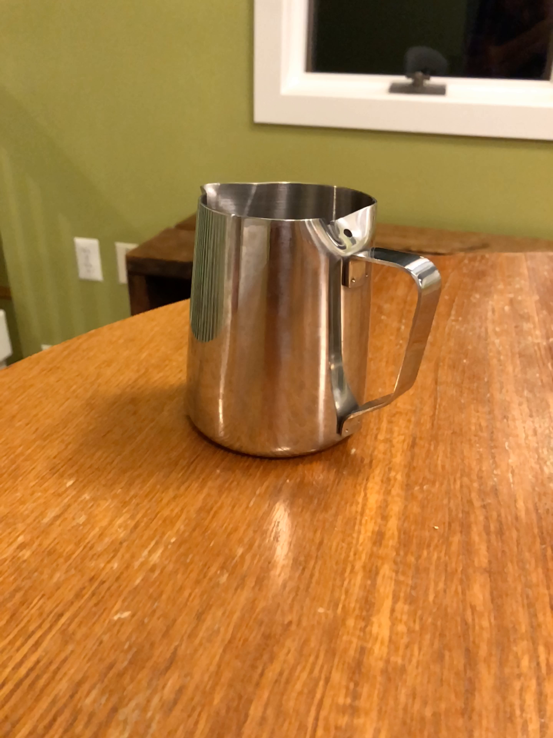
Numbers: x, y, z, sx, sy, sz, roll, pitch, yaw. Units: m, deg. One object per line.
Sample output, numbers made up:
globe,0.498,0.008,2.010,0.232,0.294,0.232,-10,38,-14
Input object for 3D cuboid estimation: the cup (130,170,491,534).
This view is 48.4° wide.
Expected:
cup,0.009,-0.021,0.290,0.083,0.114,0.136,-23,36,-39
